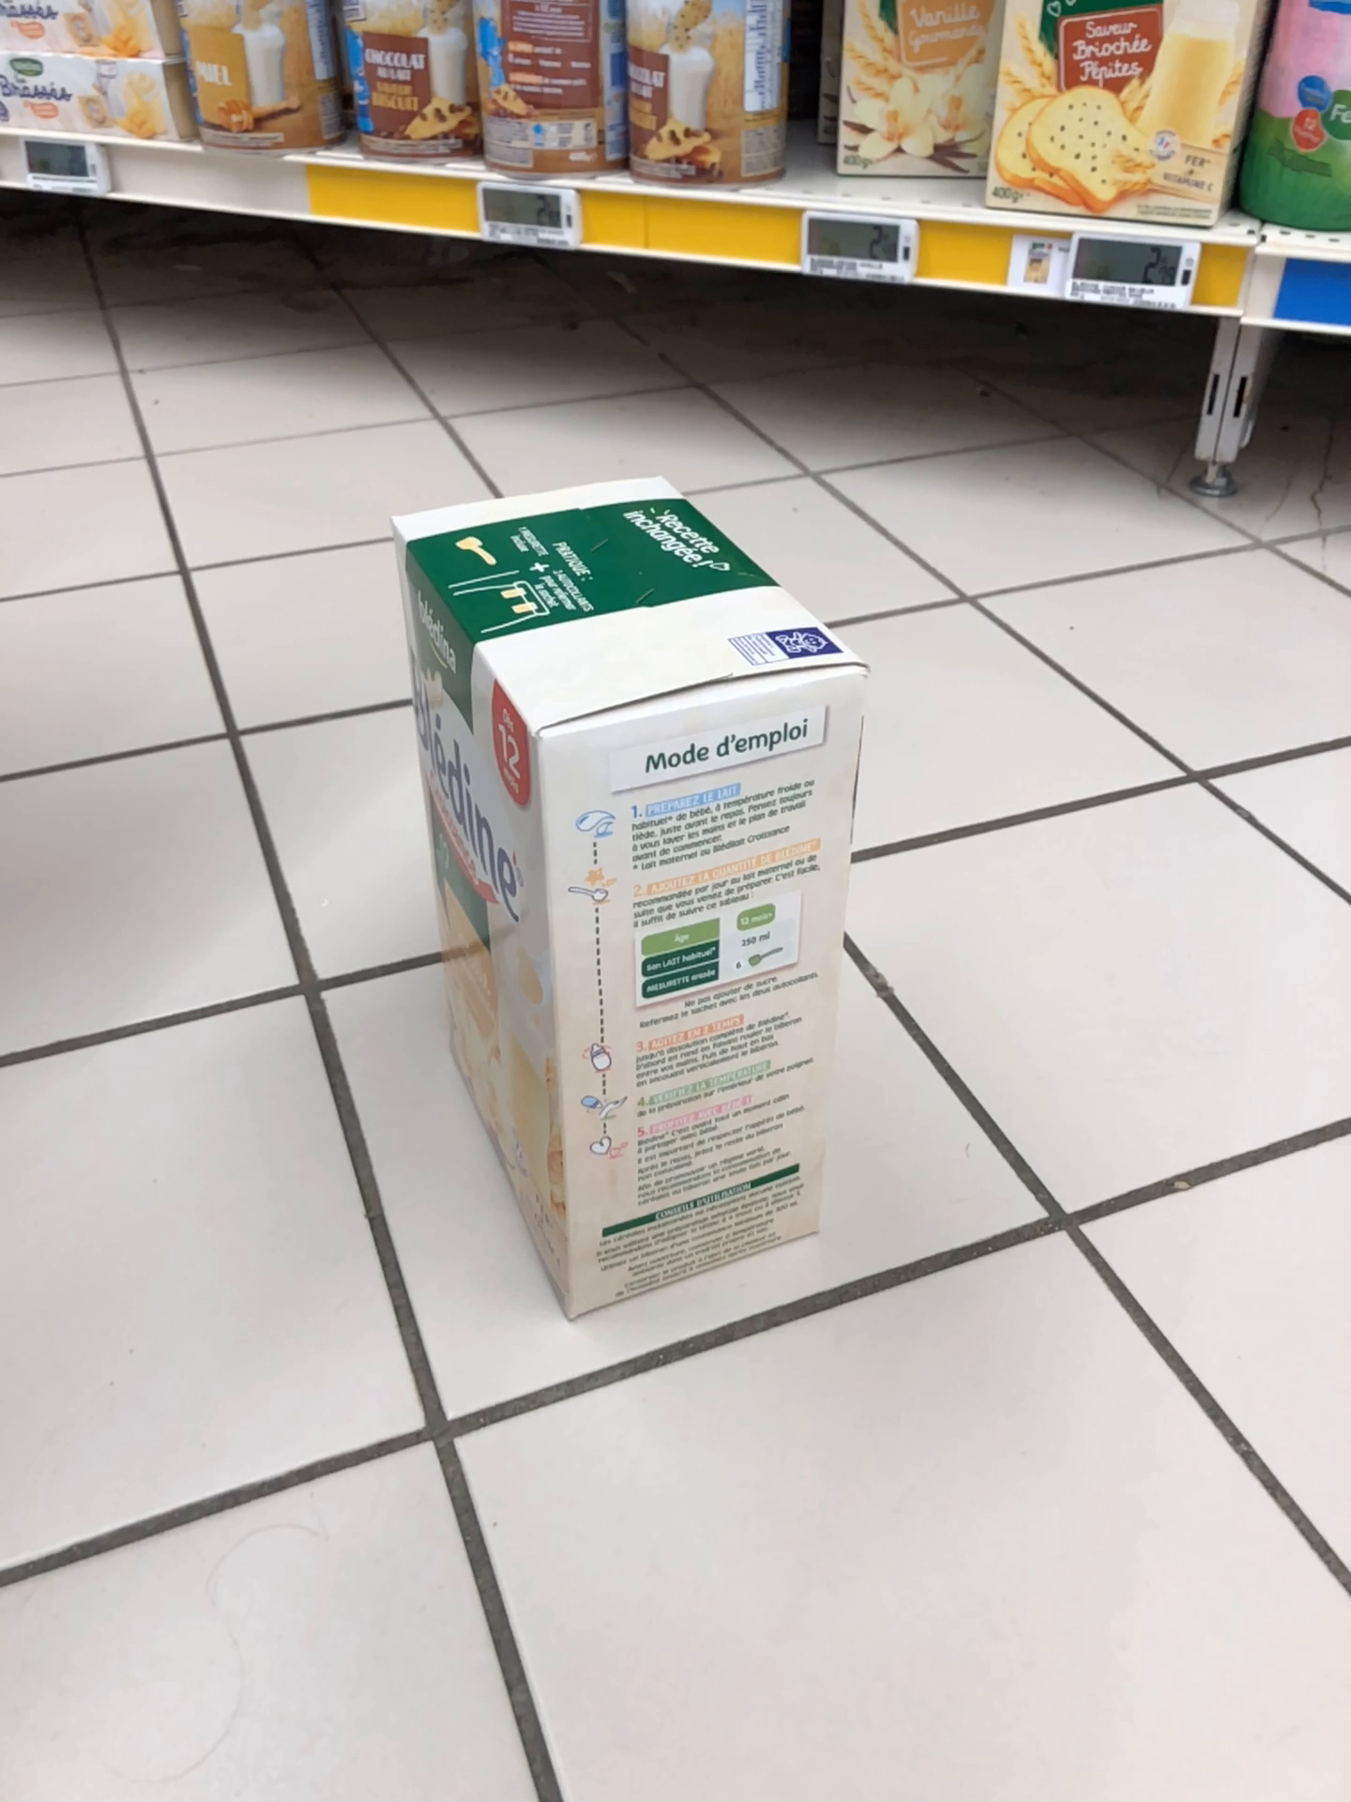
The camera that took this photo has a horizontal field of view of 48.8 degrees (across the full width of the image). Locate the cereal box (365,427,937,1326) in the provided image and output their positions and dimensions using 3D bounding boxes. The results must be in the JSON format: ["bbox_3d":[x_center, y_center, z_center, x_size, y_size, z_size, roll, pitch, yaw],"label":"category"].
[{"bbox_3d":[-0.014,-0.011,0.429,0.100,0.199,0.141,-13,37,-18],"label":"cereal box"}]
